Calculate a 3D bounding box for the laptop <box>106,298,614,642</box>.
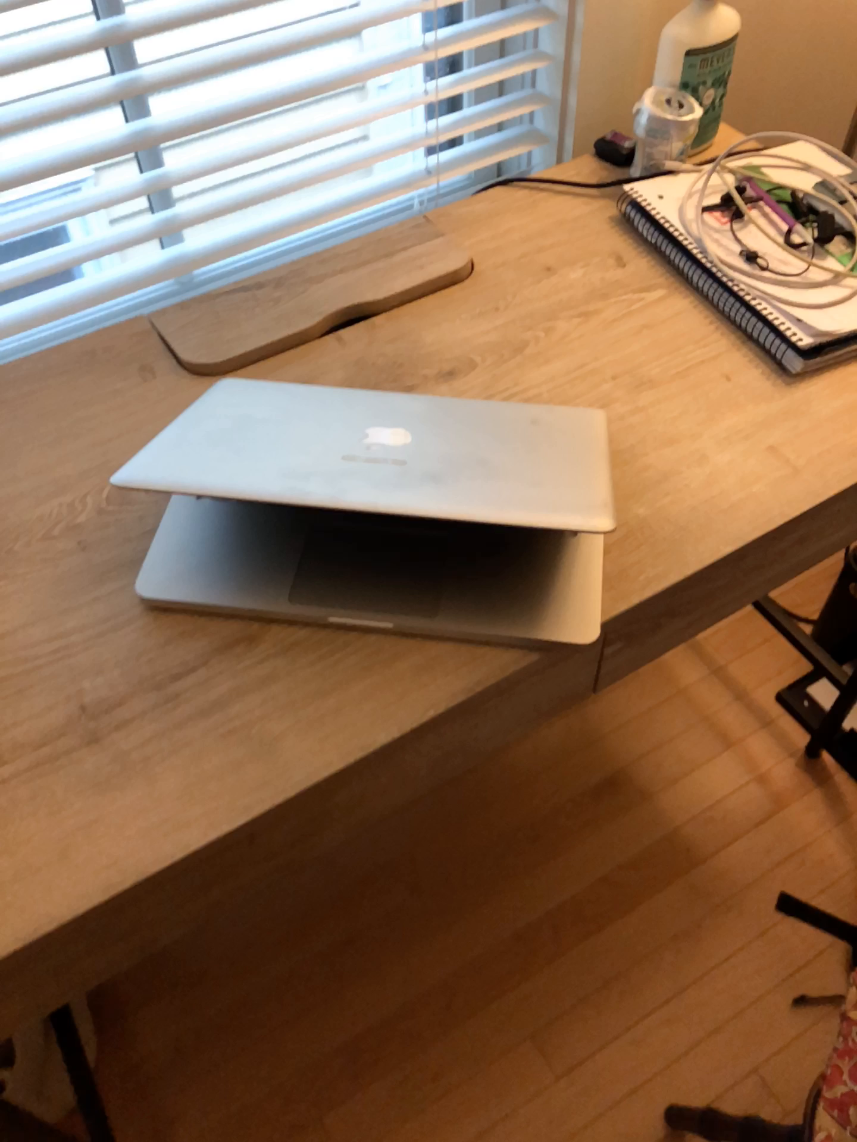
[{"bbox_3d":[-0.031,-0.078,0.650,0.299,0.082,0.210,6,53,6],"label":"laptop"}]
